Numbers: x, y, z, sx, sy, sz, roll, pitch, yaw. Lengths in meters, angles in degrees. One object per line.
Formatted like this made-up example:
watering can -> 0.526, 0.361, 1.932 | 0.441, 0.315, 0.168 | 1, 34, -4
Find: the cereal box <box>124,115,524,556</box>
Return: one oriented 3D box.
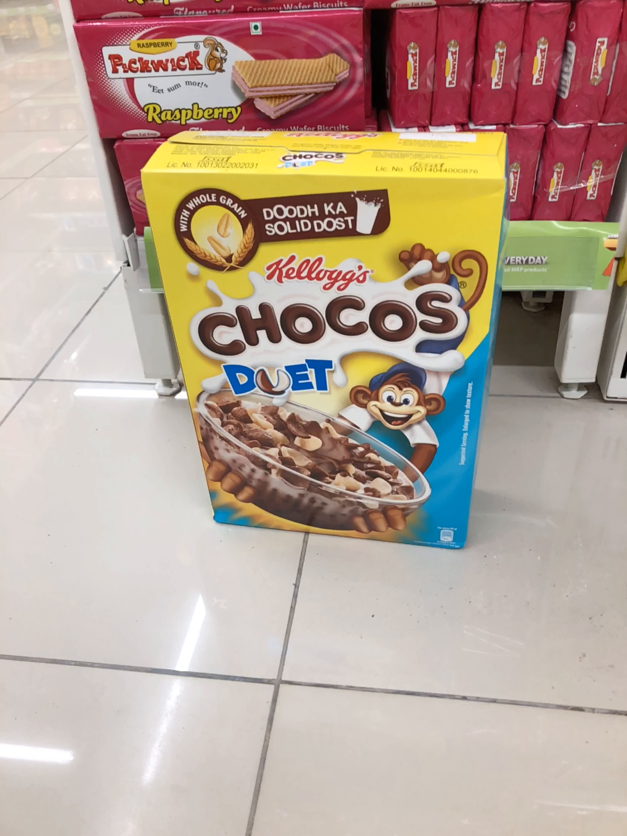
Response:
cereal box -> 0.014, -0.040, 0.427 | 0.190, 0.258, 0.071 | 4, 38, 11
